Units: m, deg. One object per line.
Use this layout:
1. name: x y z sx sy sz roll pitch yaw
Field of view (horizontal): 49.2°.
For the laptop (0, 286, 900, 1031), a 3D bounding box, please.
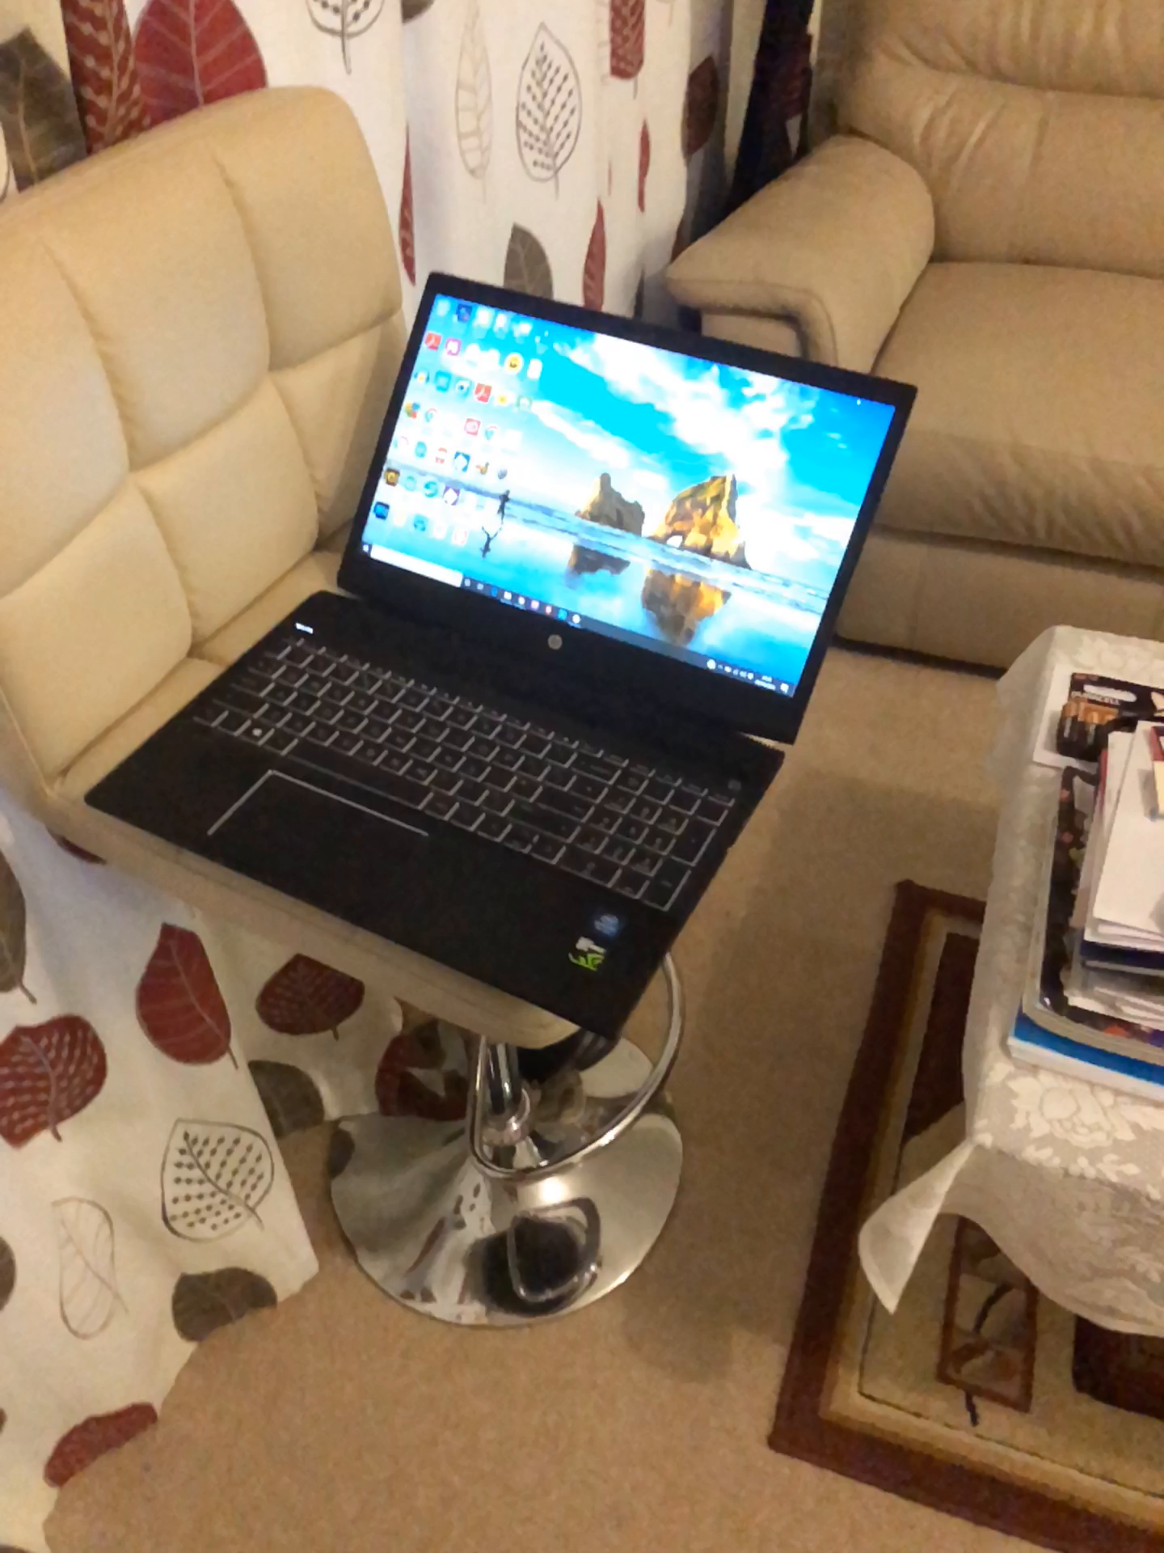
1. laptop: -0.049 -0.110 0.760 0.348 0.159 0.402 20 47 20
